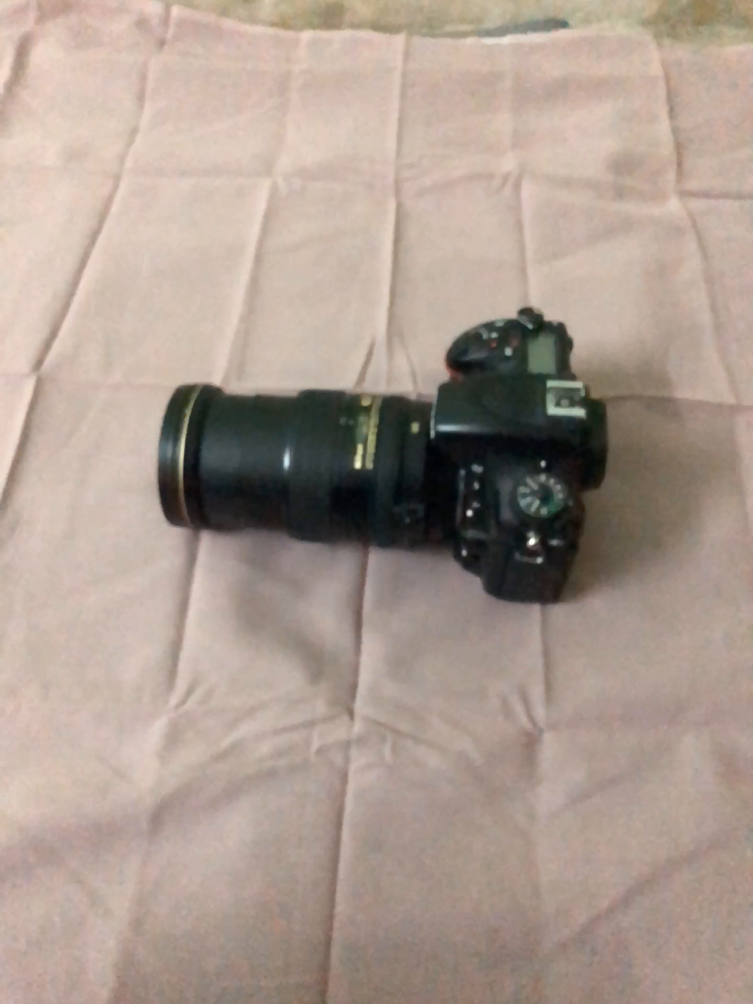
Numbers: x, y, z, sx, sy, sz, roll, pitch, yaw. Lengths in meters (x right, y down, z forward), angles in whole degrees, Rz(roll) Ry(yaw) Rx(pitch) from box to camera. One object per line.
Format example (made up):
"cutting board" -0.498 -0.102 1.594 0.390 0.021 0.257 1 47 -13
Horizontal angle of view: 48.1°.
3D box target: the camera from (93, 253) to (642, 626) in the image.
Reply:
"camera" 0.001 -0.032 0.437 0.231 0.109 0.139 4 57 3
